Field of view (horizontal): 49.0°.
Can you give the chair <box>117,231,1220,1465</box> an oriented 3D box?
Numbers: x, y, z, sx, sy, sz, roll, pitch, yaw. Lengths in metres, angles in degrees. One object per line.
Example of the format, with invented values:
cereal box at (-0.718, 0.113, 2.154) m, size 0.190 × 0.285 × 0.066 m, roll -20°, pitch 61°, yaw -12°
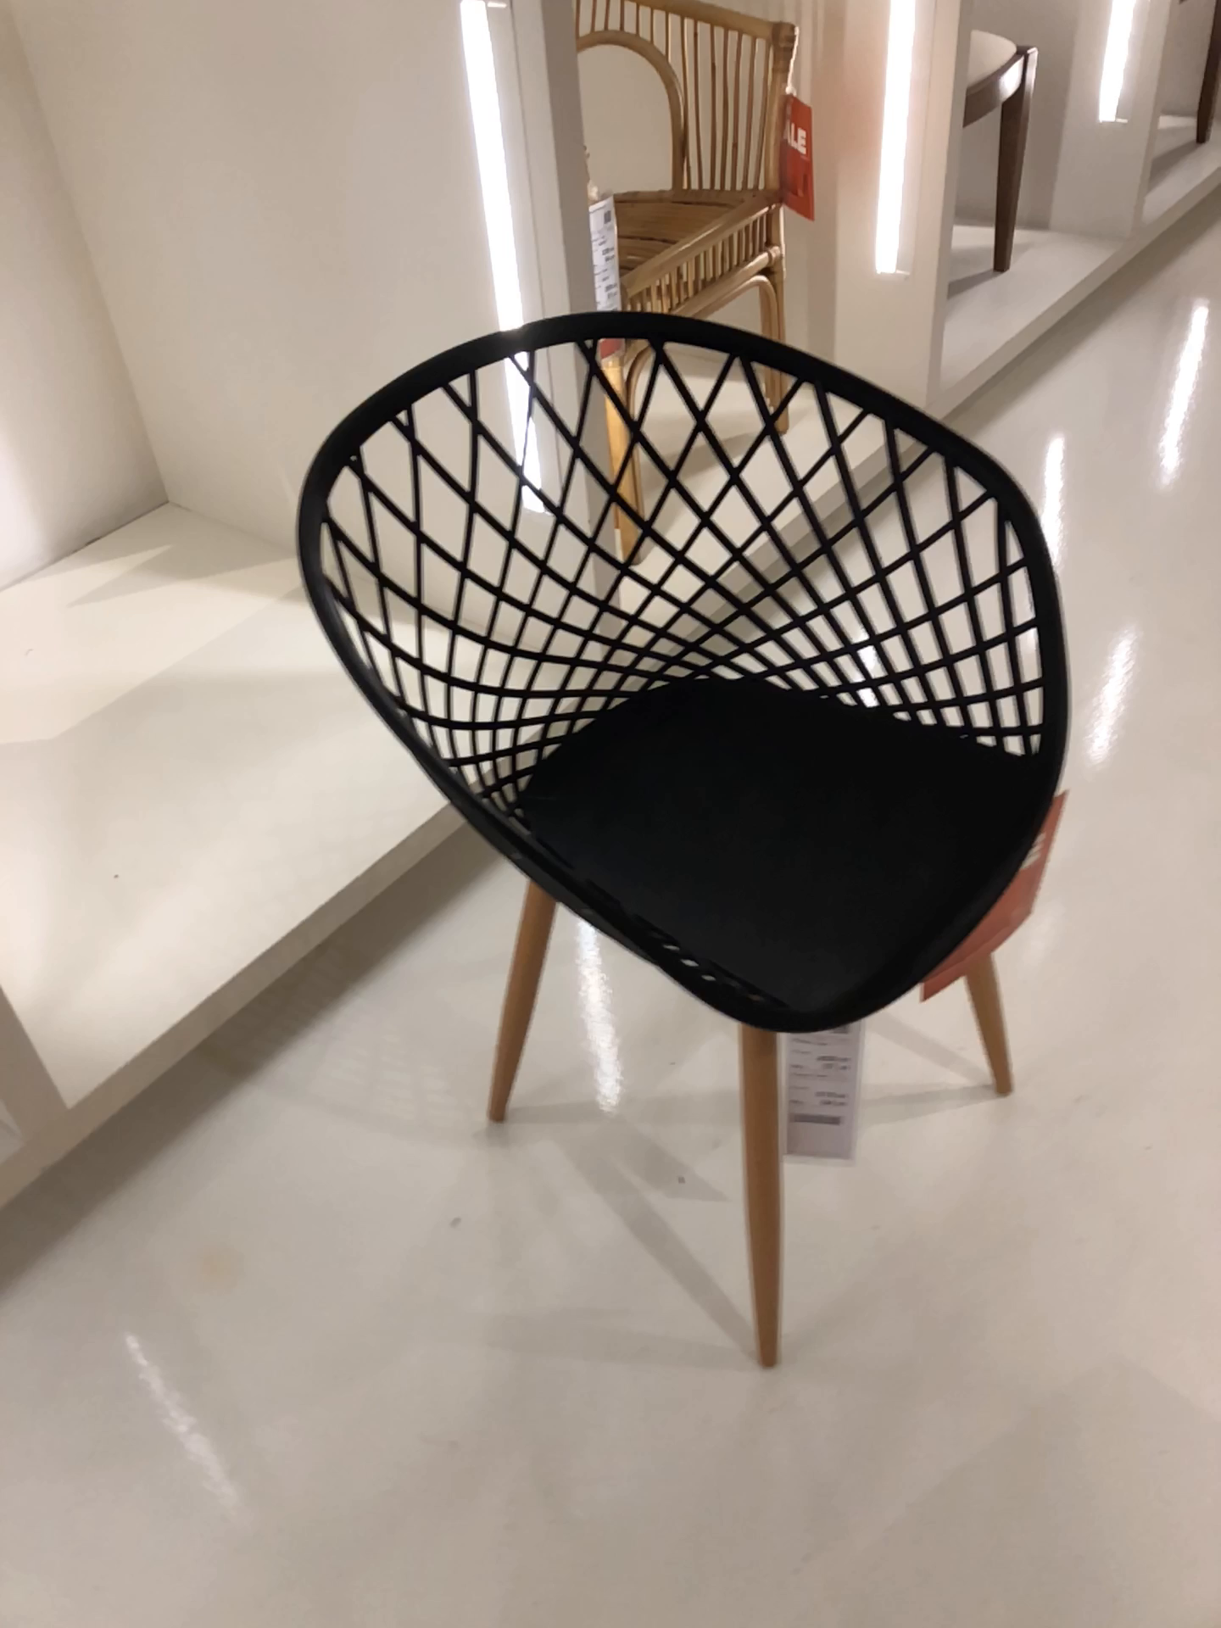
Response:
chair at (0.097, -0.014, 1.200) m, size 0.602 × 0.705 × 0.623 m, roll 29°, pitch 52°, yaw 34°
